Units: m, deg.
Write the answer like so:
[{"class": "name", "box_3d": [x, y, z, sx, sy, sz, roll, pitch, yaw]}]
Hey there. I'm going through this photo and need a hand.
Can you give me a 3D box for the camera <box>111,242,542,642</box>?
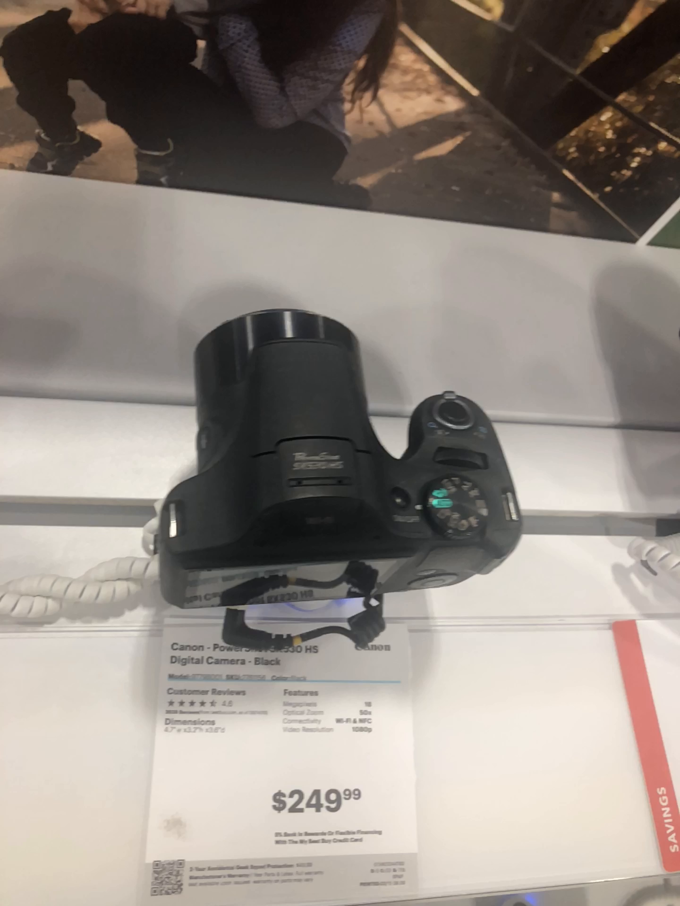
[{"class": "camera", "box_3d": [-0.013, -0.002, 0.258, 0.120, 0.070, 0.110, -2, 67, -14]}]
